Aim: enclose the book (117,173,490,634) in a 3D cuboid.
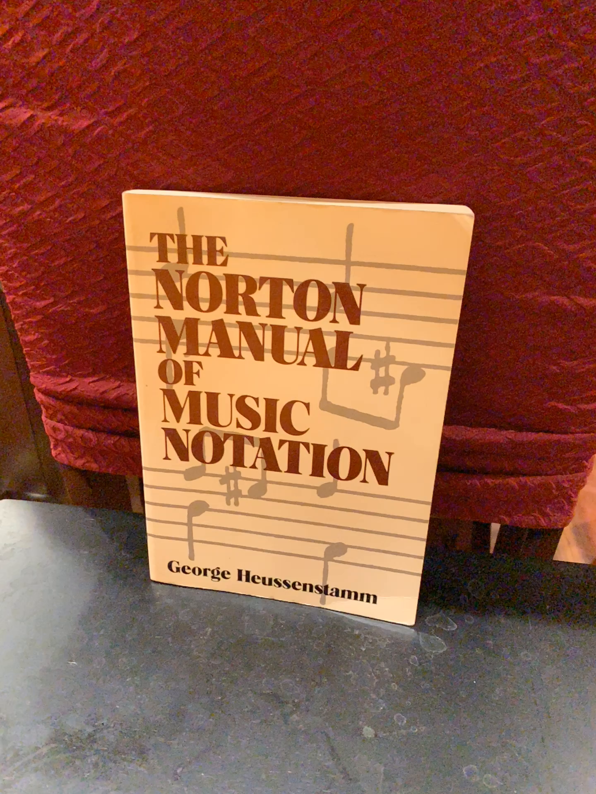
[{"bbox_3d":[-0.004,0.013,0.357,0.180,0.259,0.030,6,24,9],"label":"book"}]
